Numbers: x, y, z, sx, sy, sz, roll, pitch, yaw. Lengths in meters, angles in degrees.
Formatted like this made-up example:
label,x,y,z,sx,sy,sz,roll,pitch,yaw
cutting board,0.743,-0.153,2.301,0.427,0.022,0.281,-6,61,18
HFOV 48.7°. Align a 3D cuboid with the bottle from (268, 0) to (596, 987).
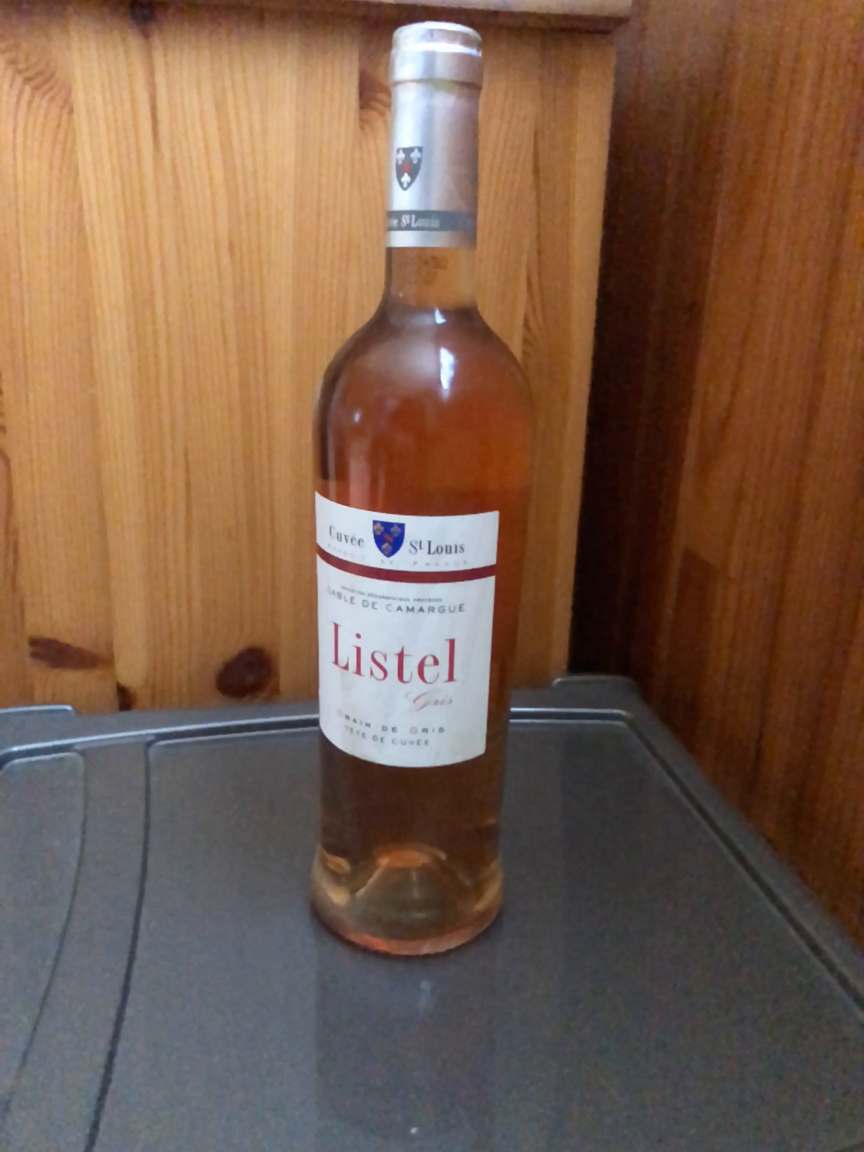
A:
label,x,y,z,sx,sy,sz,roll,pitch,yaw
bottle,-0.002,-0.023,0.337,0.080,0.319,0.080,2,18,-1
